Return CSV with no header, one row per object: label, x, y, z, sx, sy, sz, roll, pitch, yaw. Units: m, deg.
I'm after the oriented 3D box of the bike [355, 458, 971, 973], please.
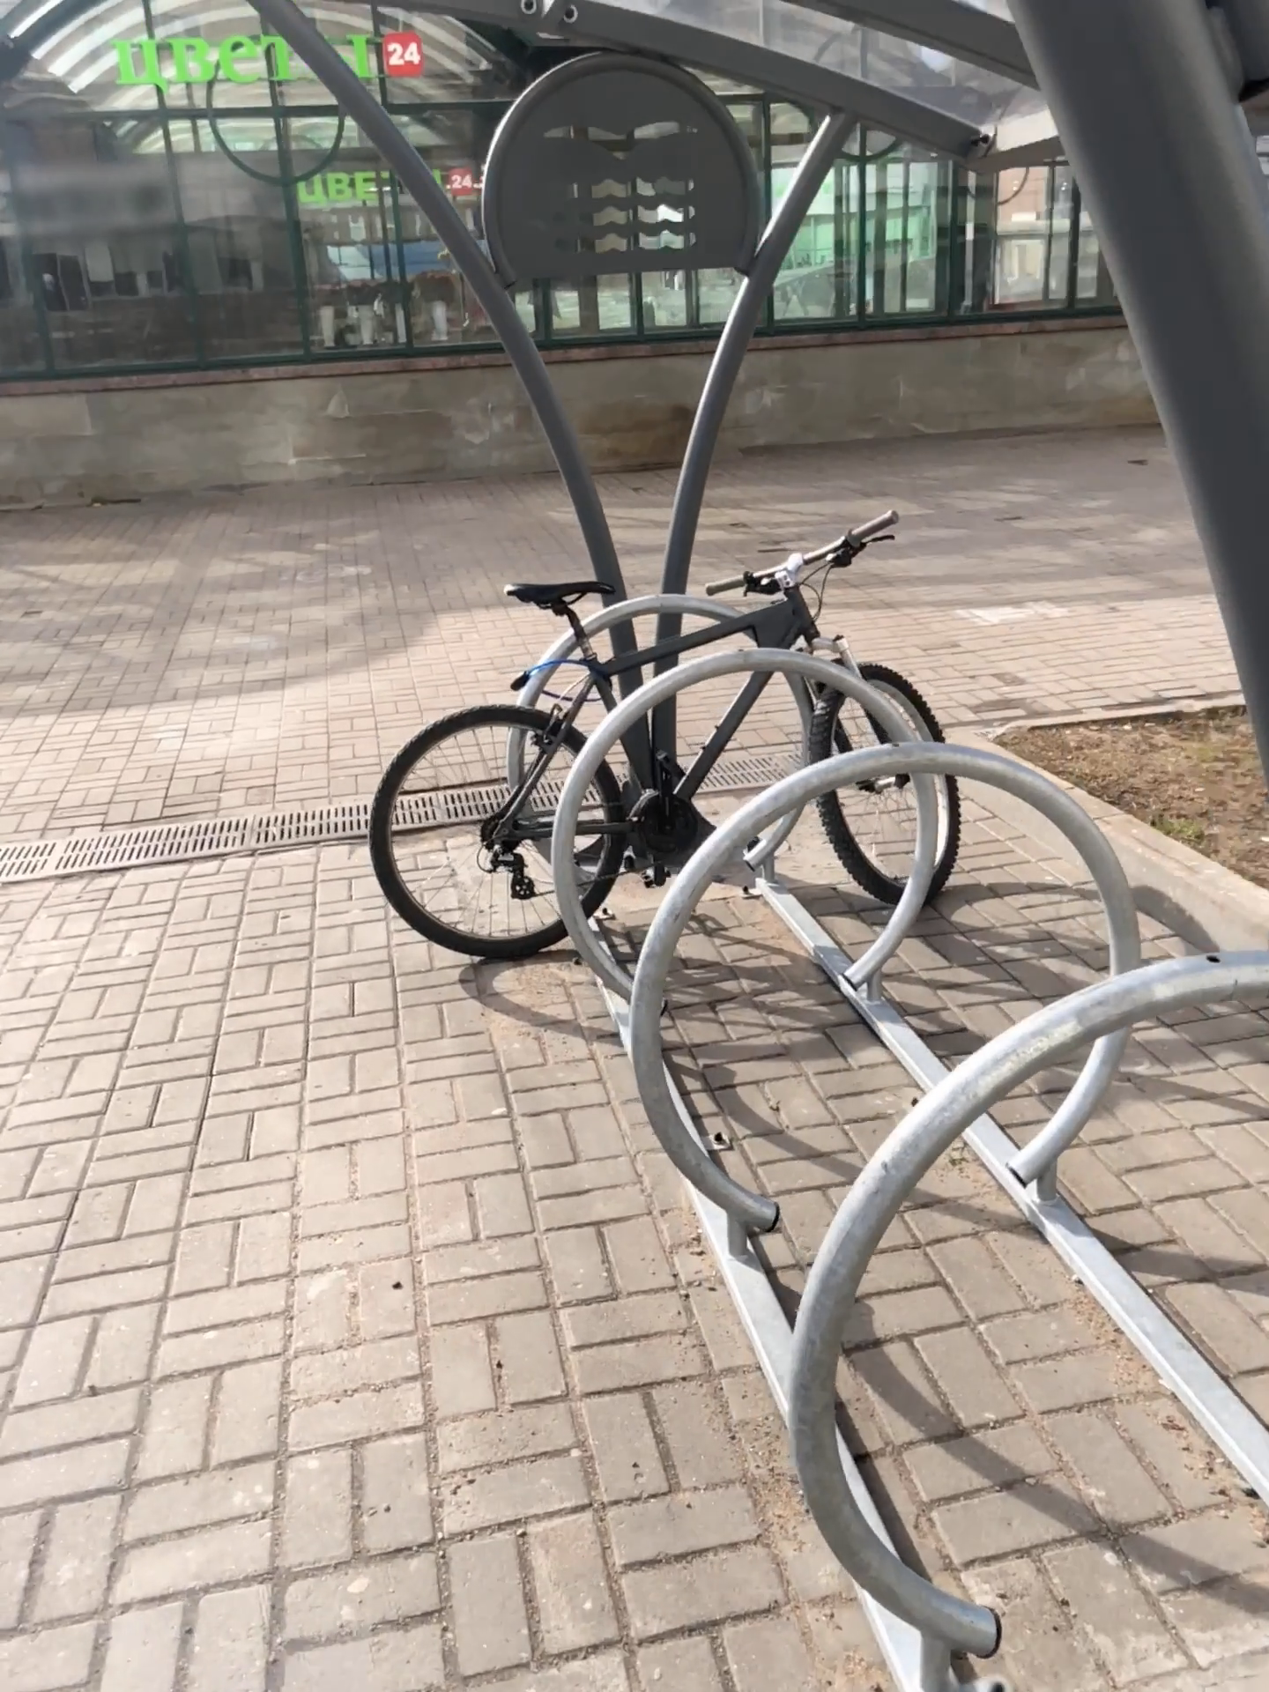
bike,0.110,-0.422,3.743,1.612,0.980,0.563,-12,22,-18
